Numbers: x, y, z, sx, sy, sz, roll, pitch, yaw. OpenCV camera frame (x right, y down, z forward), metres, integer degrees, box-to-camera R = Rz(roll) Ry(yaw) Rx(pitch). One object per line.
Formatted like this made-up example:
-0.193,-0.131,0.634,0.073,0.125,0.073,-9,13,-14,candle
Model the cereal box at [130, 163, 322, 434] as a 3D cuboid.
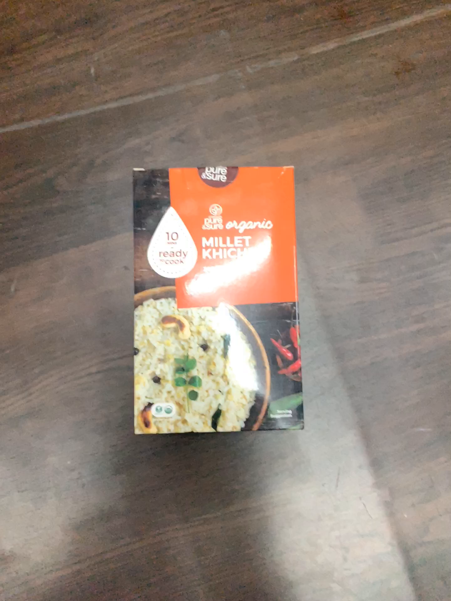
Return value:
-0.001,-0.001,0.296,0.110,0.040,0.160,-1,83,0,cereal box
